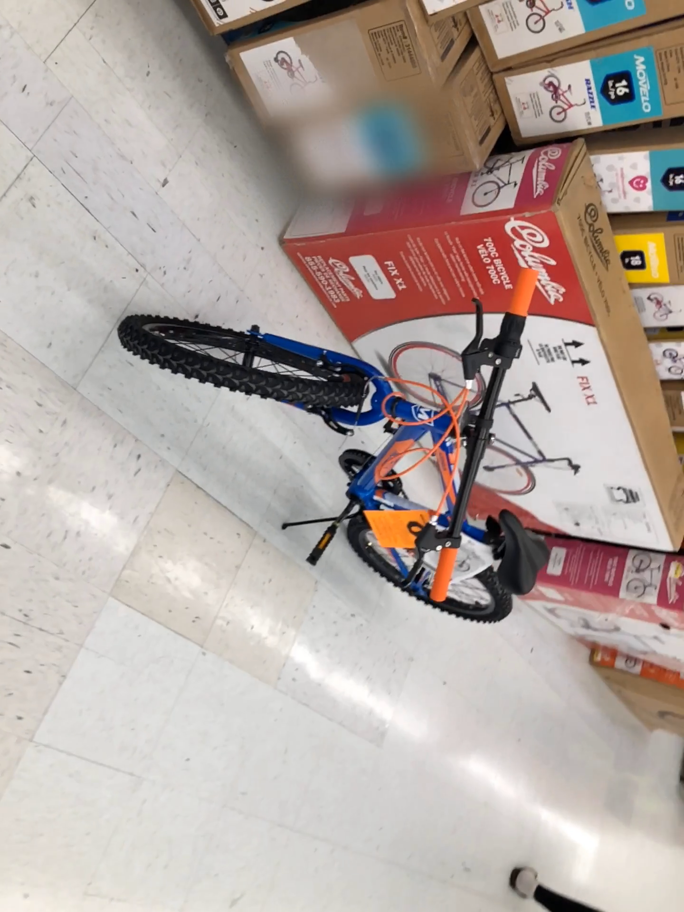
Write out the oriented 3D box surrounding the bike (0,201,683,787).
[{"bbox_3d":[0.049,0.160,1.700,1.321,0.869,0.584,43,60,-40],"label":"bike"}]
